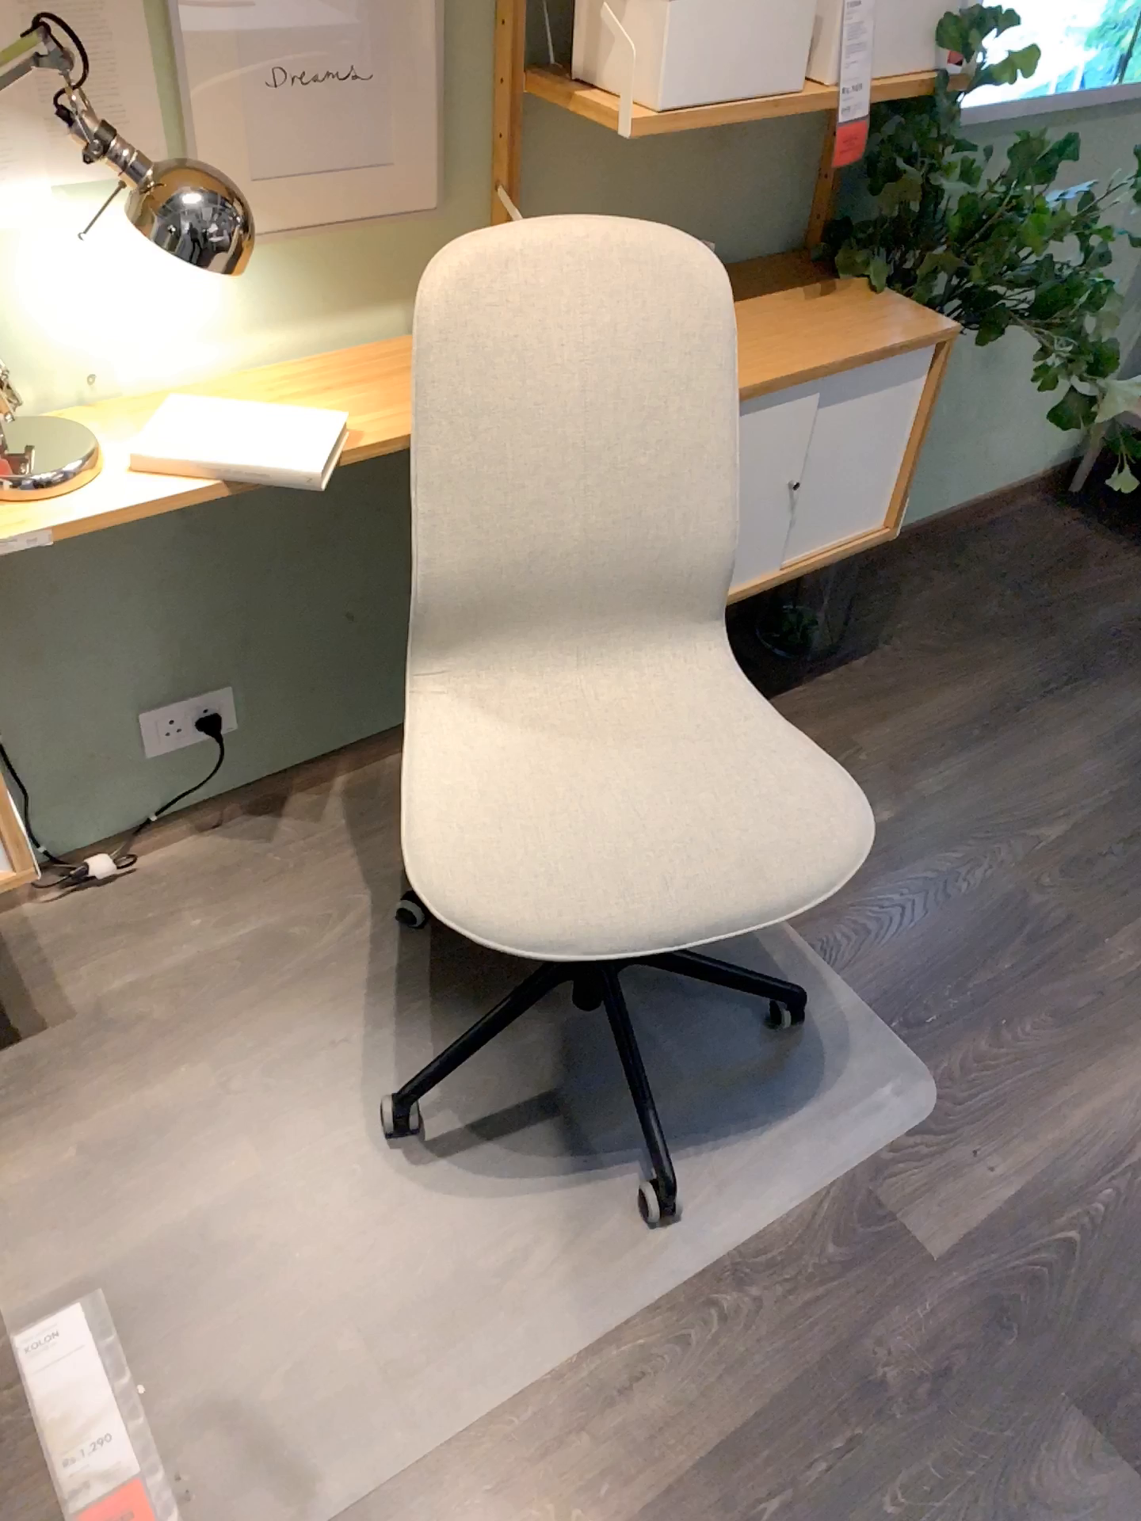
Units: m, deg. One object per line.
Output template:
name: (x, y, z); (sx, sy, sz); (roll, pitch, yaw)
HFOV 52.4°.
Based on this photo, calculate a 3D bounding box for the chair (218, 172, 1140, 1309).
chair: (0.047, -0.010, 1.326); (0.670, 1.016, 0.672); (-10, 45, -16)
